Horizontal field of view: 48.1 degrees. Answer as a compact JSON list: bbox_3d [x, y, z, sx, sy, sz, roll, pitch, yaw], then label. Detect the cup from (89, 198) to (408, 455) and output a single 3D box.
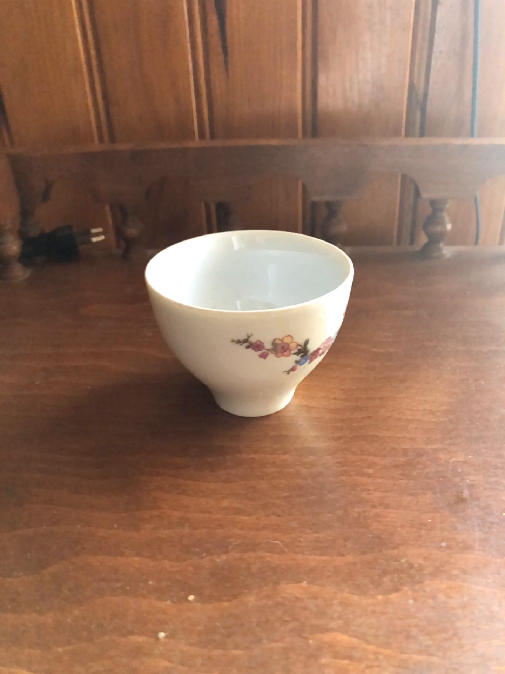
[{"bbox_3d":[0.002,-0.013,0.223,0.080,0.050,0.091,20,36,35],"label":"cup"}]
